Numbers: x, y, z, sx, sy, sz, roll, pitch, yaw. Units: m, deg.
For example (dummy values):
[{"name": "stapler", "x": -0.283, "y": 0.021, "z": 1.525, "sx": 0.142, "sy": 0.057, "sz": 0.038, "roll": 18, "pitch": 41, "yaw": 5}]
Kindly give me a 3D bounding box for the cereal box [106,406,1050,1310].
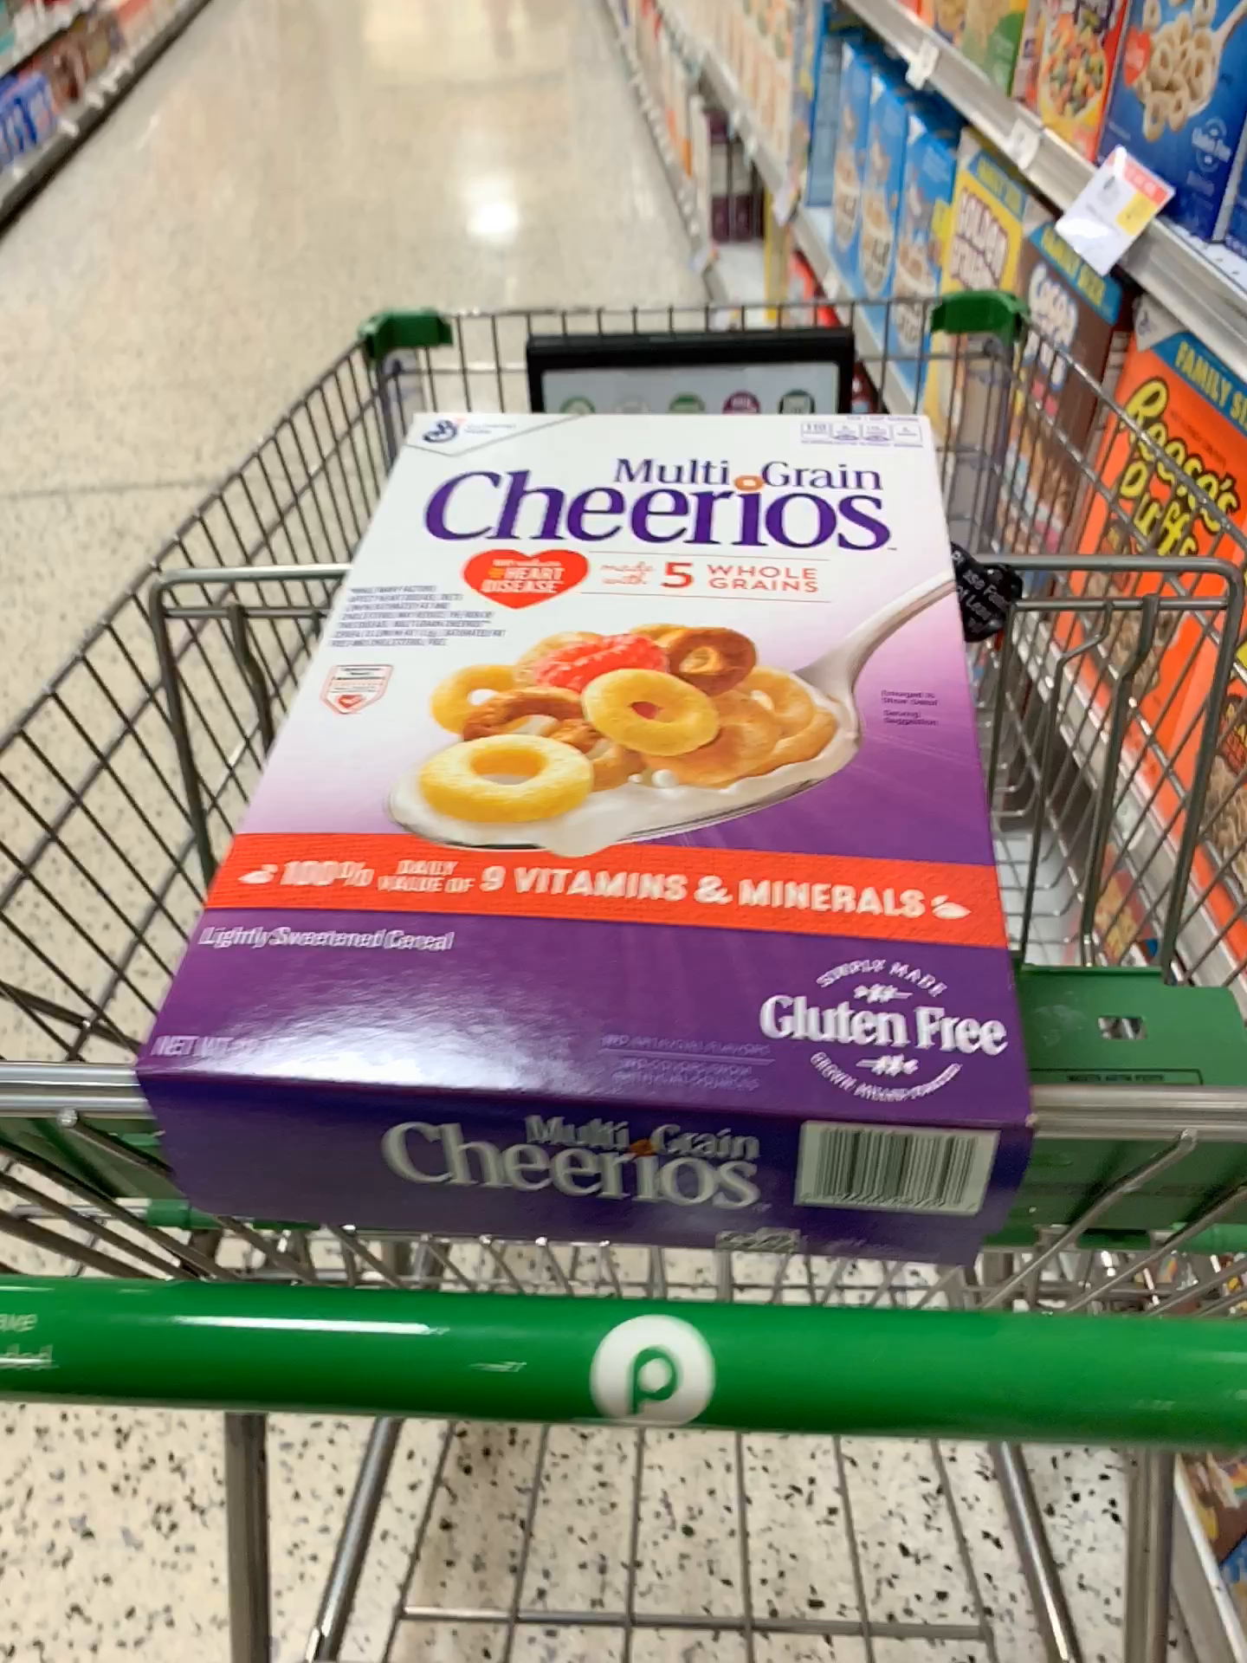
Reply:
[{"name": "cereal box", "x": 0.002, "y": -0.026, "z": 0.410, "sx": 0.200, "sy": 0.069, "sz": 0.323, "roll": 2, "pitch": 45, "yaw": 4}]
